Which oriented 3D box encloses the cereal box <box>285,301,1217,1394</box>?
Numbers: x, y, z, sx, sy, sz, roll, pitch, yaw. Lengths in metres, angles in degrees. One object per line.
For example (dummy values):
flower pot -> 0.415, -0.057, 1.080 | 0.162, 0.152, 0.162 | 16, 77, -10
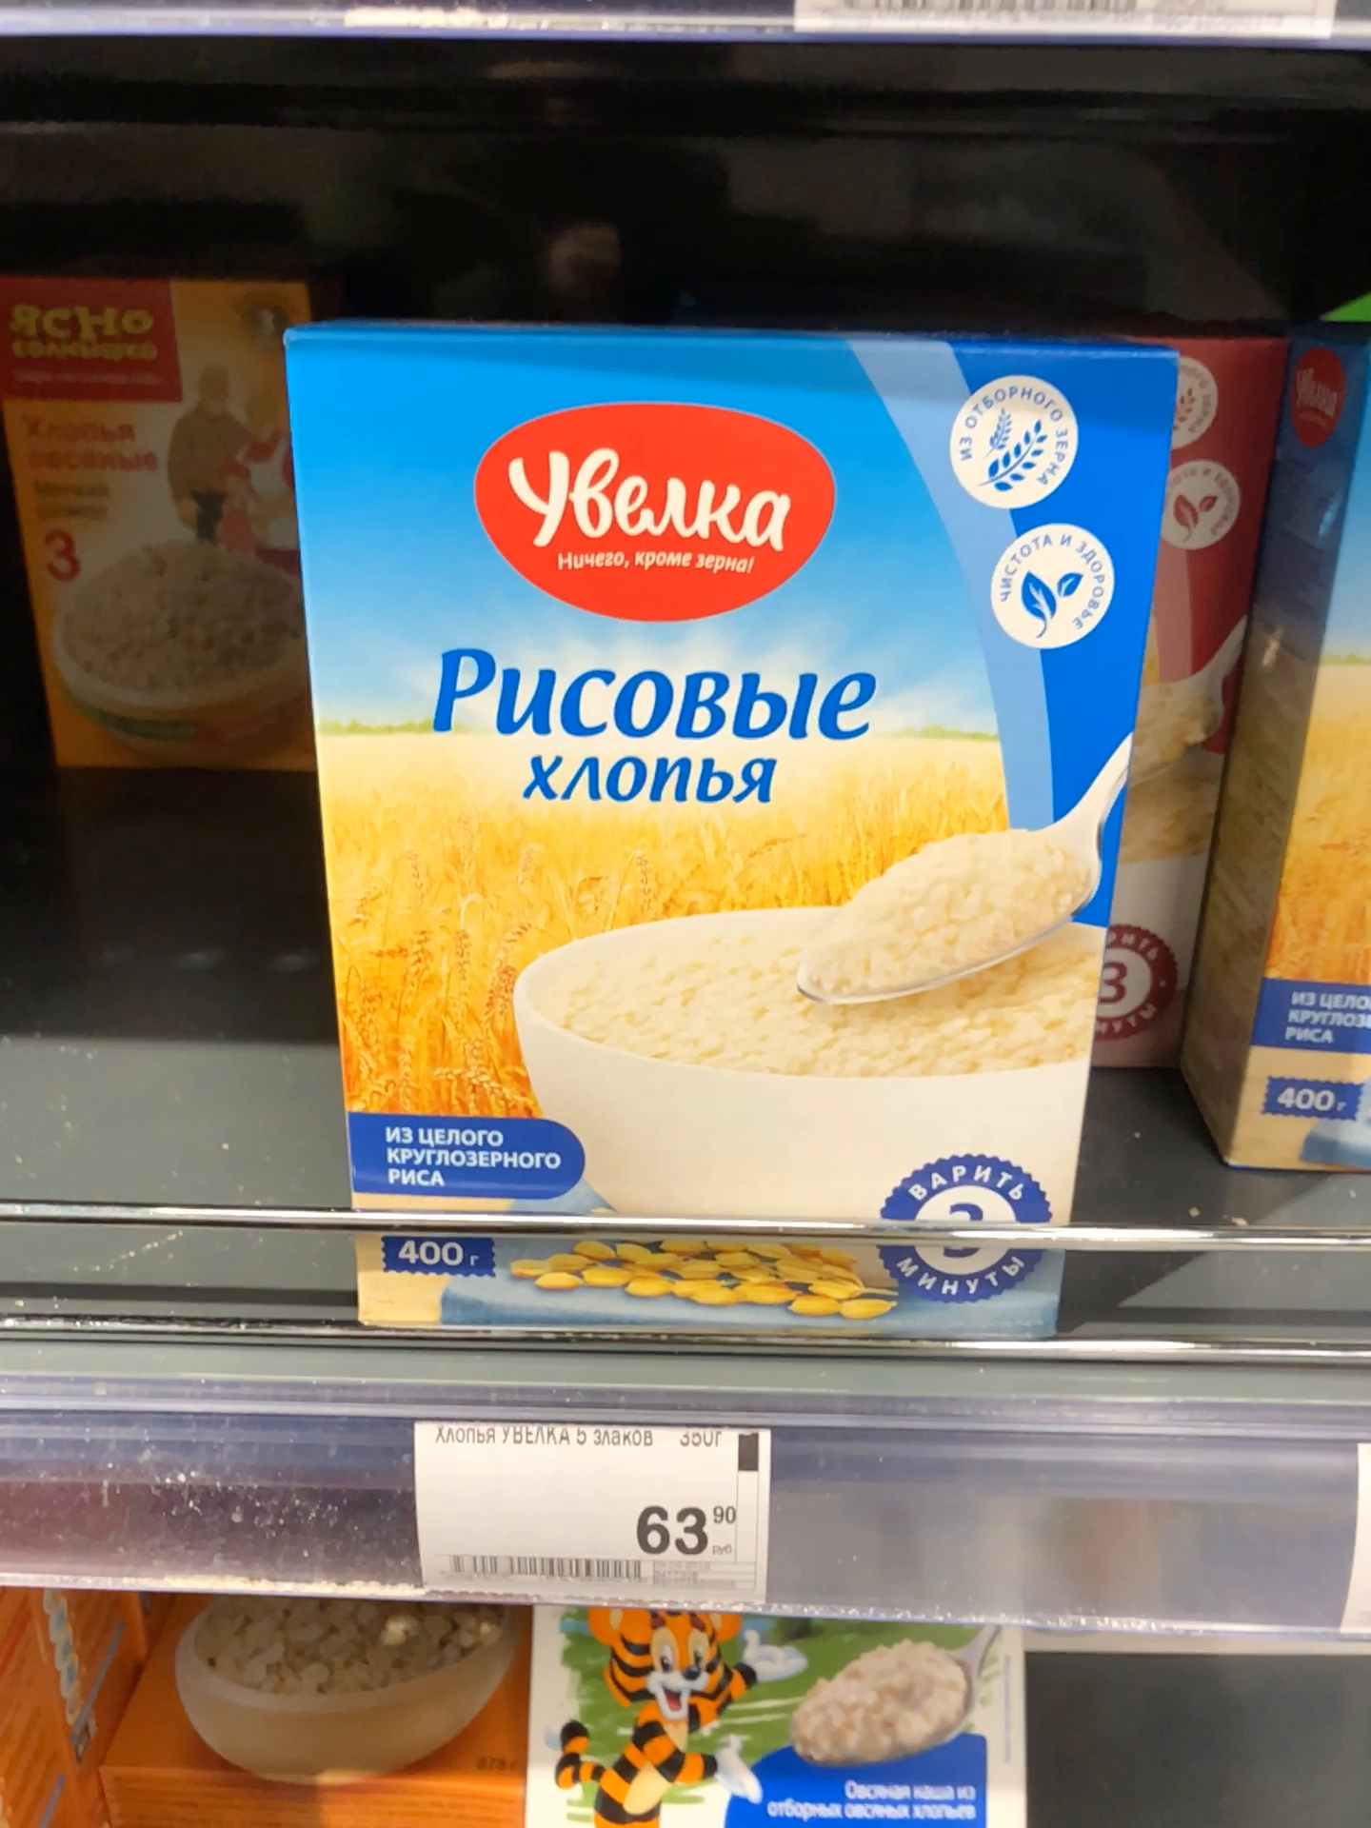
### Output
cereal box -> 0.008, -0.009, 0.294 | 0.140, 0.199, 0.060 | 1, 22, -1
